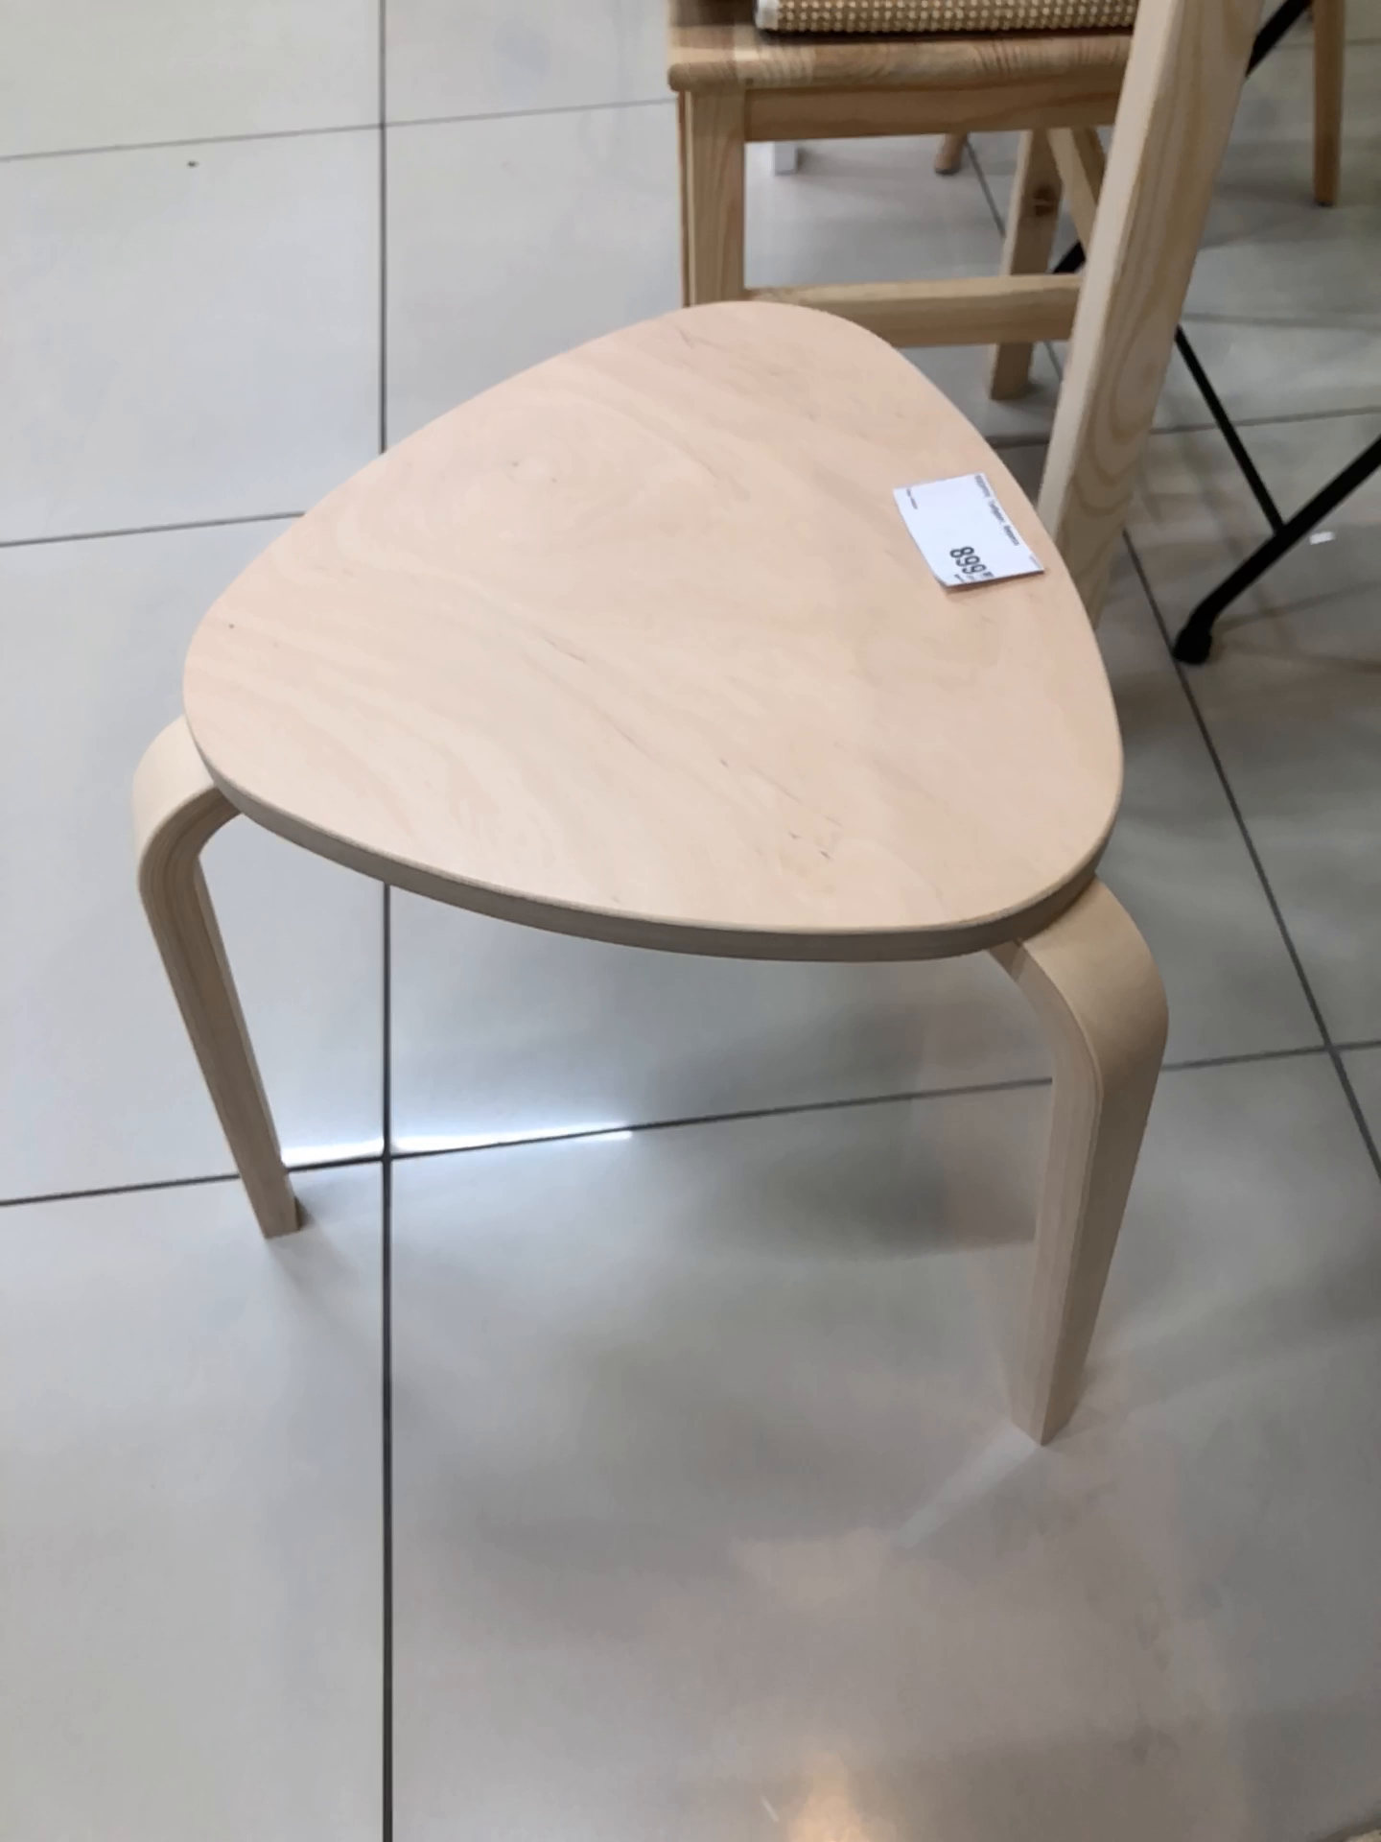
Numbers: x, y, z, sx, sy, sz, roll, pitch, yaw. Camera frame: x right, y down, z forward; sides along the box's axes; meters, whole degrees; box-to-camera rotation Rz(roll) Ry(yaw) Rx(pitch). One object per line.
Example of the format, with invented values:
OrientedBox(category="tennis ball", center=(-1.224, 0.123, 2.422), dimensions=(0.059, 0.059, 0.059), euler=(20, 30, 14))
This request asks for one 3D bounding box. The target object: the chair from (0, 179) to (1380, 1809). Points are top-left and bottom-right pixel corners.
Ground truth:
OrientedBox(category="chair", center=(0.045, 0.041, 0.748), dimensions=(0.491, 0.468, 0.431), euler=(-39, 63, -22))
